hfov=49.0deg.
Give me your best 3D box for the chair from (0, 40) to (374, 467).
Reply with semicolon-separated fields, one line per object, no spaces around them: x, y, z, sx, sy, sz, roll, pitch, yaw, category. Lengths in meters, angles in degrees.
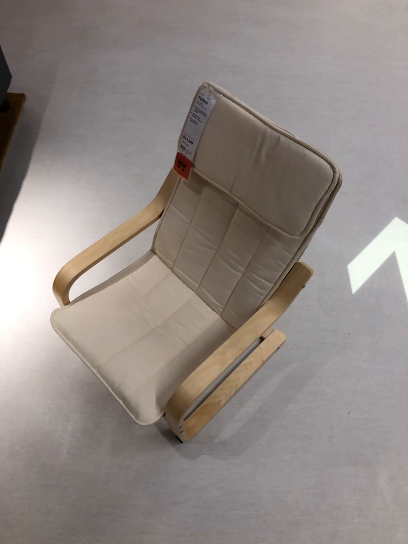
-0.092;0.023;1.188;0.581;0.836;0.561;-40;68;-22;chair
